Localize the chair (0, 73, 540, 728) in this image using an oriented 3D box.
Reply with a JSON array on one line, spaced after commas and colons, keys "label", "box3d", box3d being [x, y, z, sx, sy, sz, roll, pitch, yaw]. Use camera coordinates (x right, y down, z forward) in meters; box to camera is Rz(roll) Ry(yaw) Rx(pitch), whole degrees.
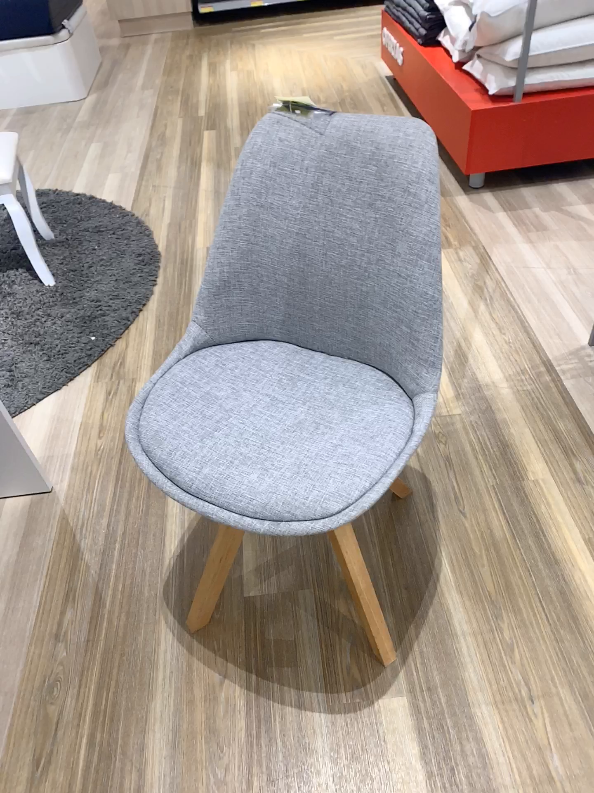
[{"label": "chair", "box3d": [0.000, 0.028, 0.998, 0.514, 0.855, 0.517, 16, 48, 22]}]
